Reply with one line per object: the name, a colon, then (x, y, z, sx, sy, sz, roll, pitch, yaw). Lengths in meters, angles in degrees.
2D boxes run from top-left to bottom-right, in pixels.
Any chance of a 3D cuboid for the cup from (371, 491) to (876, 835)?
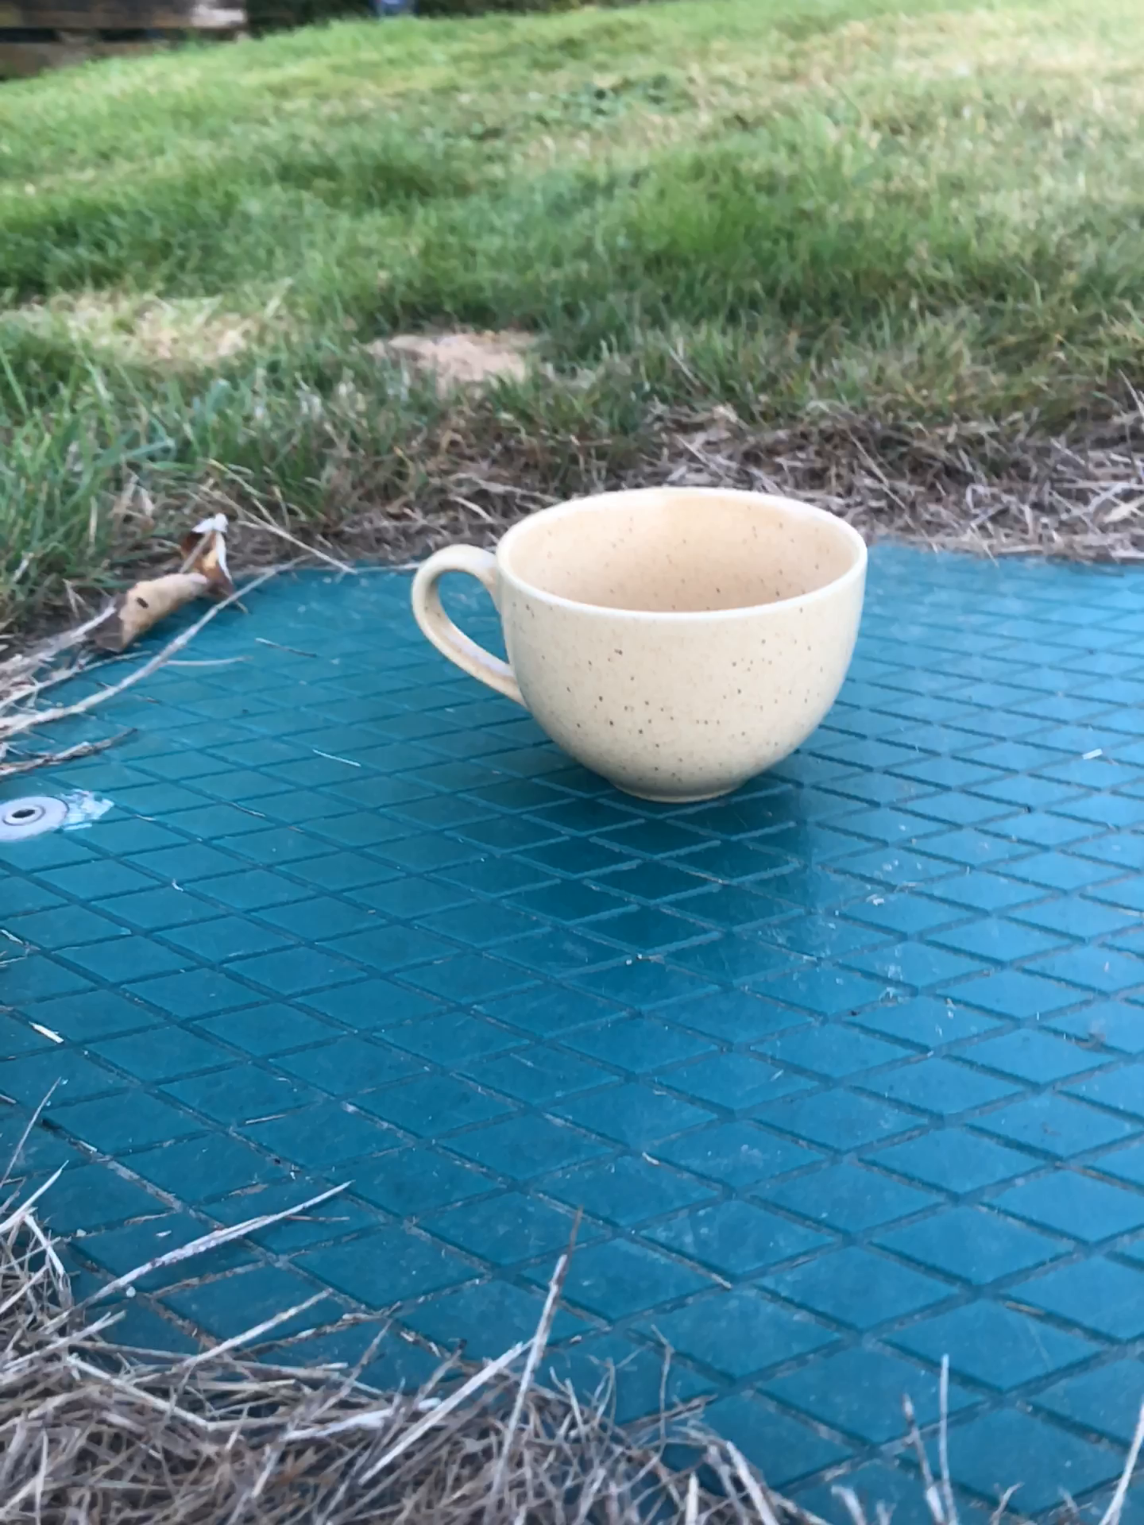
cup: (0.026, -0.040, 0.421, 0.142, 0.065, 0.124, 3, 29, 13)
